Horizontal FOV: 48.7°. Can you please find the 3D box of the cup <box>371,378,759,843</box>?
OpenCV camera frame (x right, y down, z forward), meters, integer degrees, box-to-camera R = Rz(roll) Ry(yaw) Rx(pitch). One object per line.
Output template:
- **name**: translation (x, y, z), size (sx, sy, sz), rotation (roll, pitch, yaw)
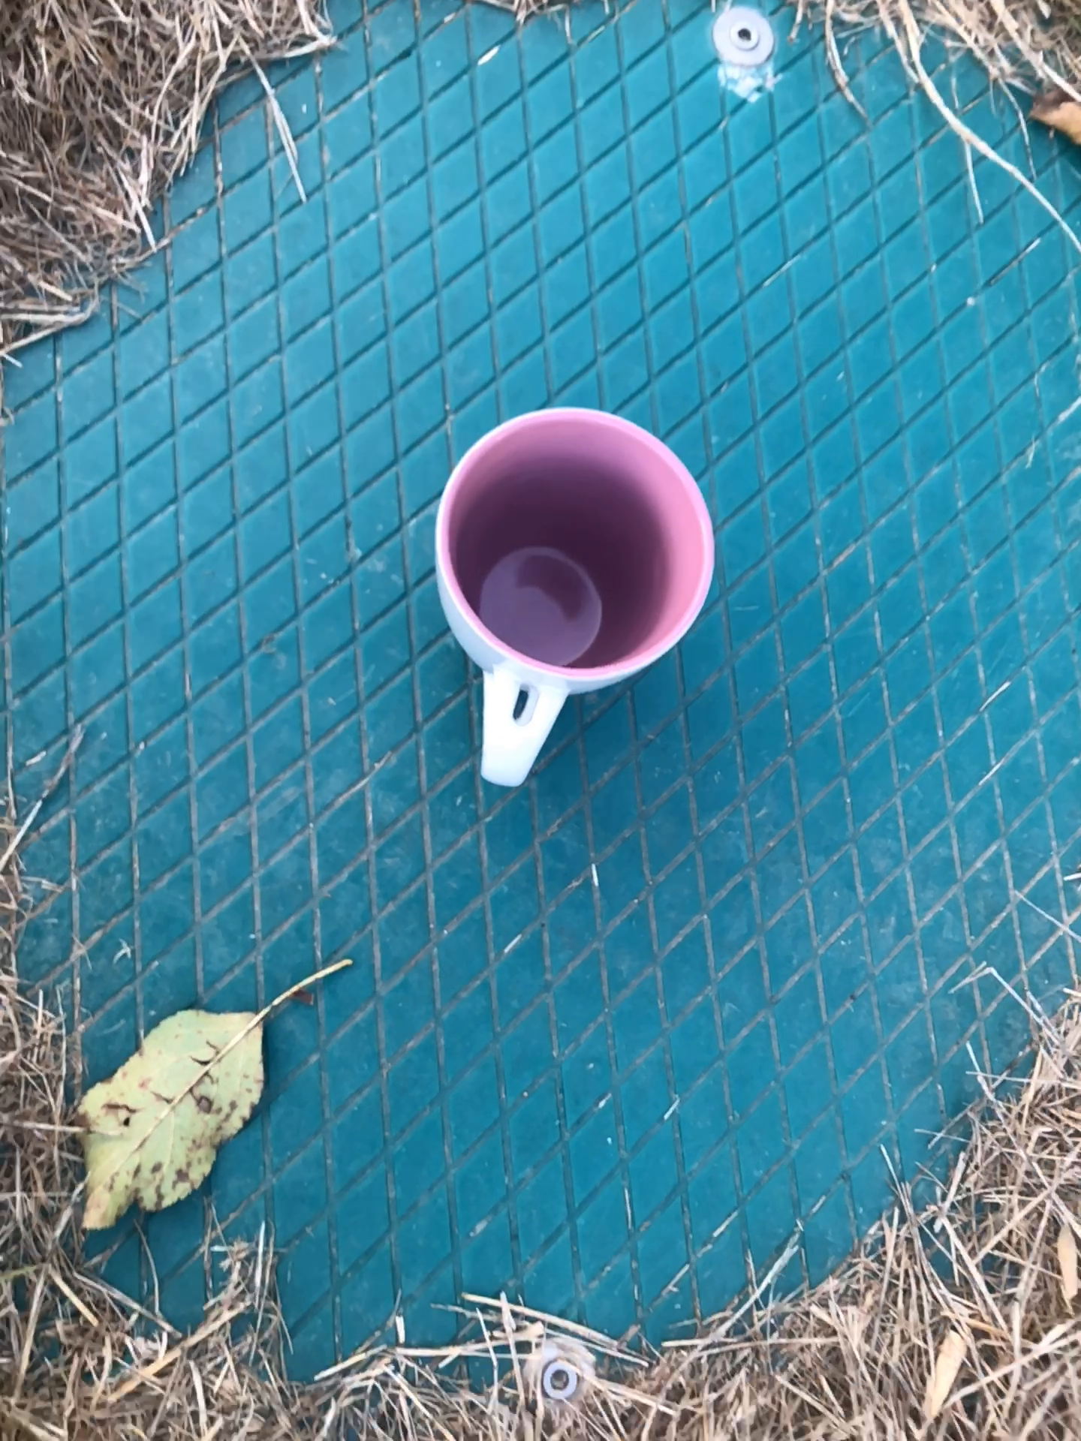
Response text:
- **cup**: translation (0.004, -0.031, 0.415), size (0.095, 0.091, 0.121), rotation (16, 78, -6)
